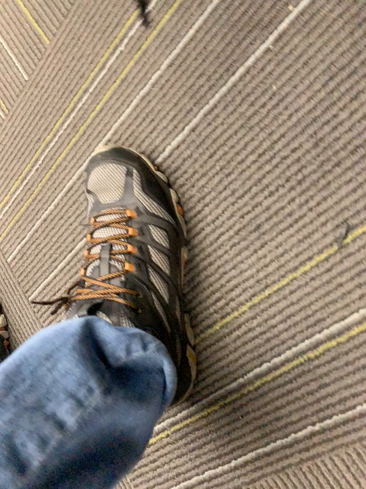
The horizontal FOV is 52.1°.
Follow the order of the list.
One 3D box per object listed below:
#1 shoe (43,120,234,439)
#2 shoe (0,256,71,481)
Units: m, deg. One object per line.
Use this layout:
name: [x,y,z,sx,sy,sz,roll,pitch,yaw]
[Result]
shoe: [-0.049,0.041,0.440,0.123,0.095,0.322,-13,91,30]
shoe: [-0.332,0.196,0.625,0.126,0.095,0.323,-36,79,29]
